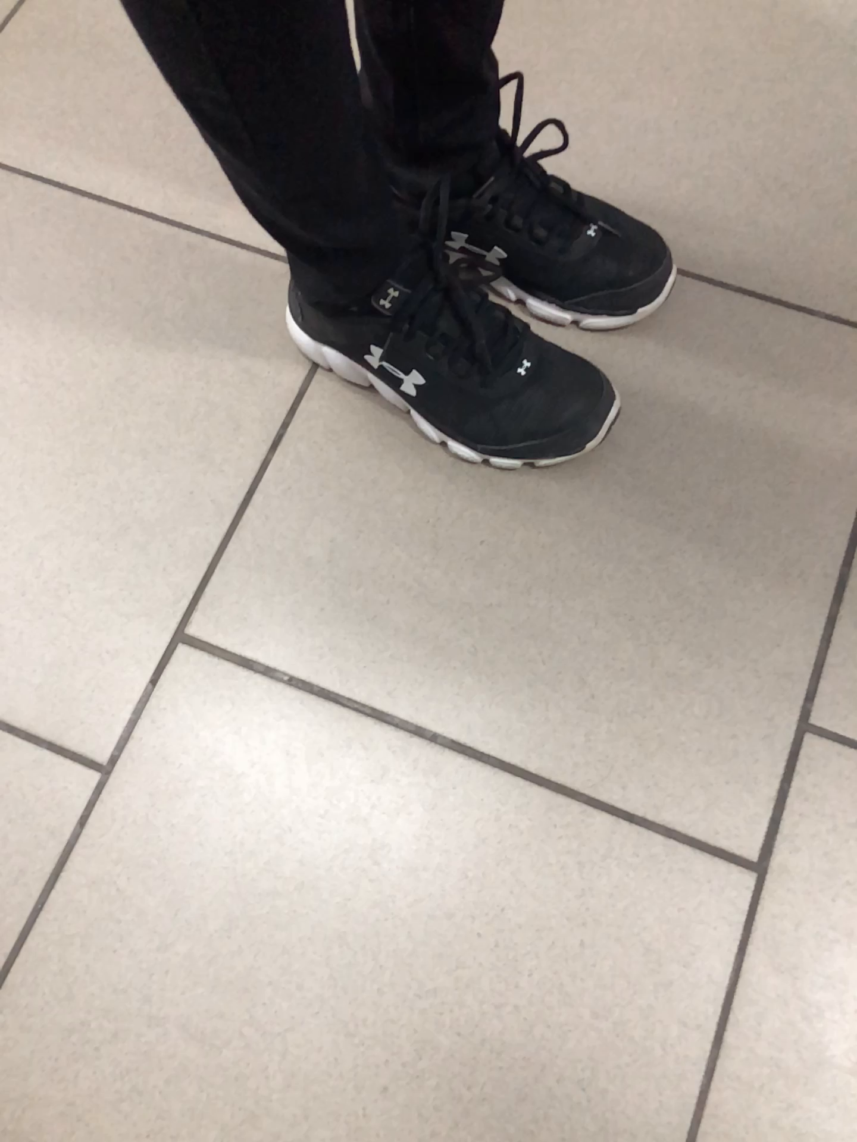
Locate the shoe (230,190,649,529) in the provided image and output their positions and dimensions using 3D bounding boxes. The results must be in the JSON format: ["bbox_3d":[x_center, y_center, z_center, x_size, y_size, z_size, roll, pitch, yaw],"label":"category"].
[{"bbox_3d":[0.007,-0.151,0.670,0.260,0.090,0.110,28,73,11],"label":"shoe"}]

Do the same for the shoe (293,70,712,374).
[{"bbox_3d":[0.052,-0.258,0.697,0.270,0.090,0.110,21,72,9],"label":"shoe"}]
